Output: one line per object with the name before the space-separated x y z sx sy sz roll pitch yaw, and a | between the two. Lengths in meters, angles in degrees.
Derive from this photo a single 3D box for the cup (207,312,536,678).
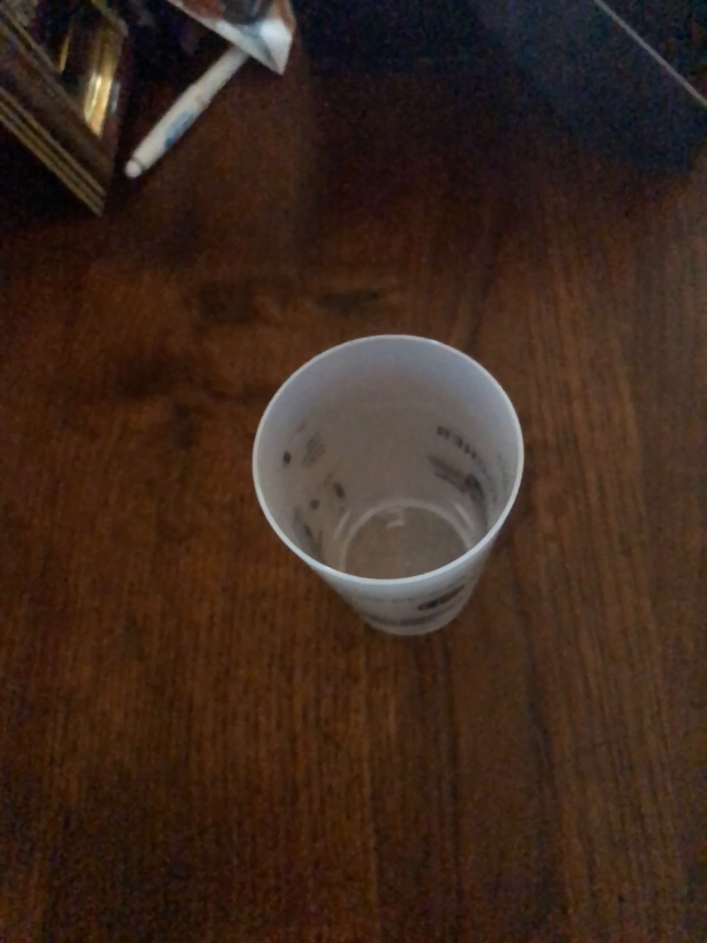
cup | 0.012 0.016 0.257 0.070 0.120 0.070 -2 68 5
